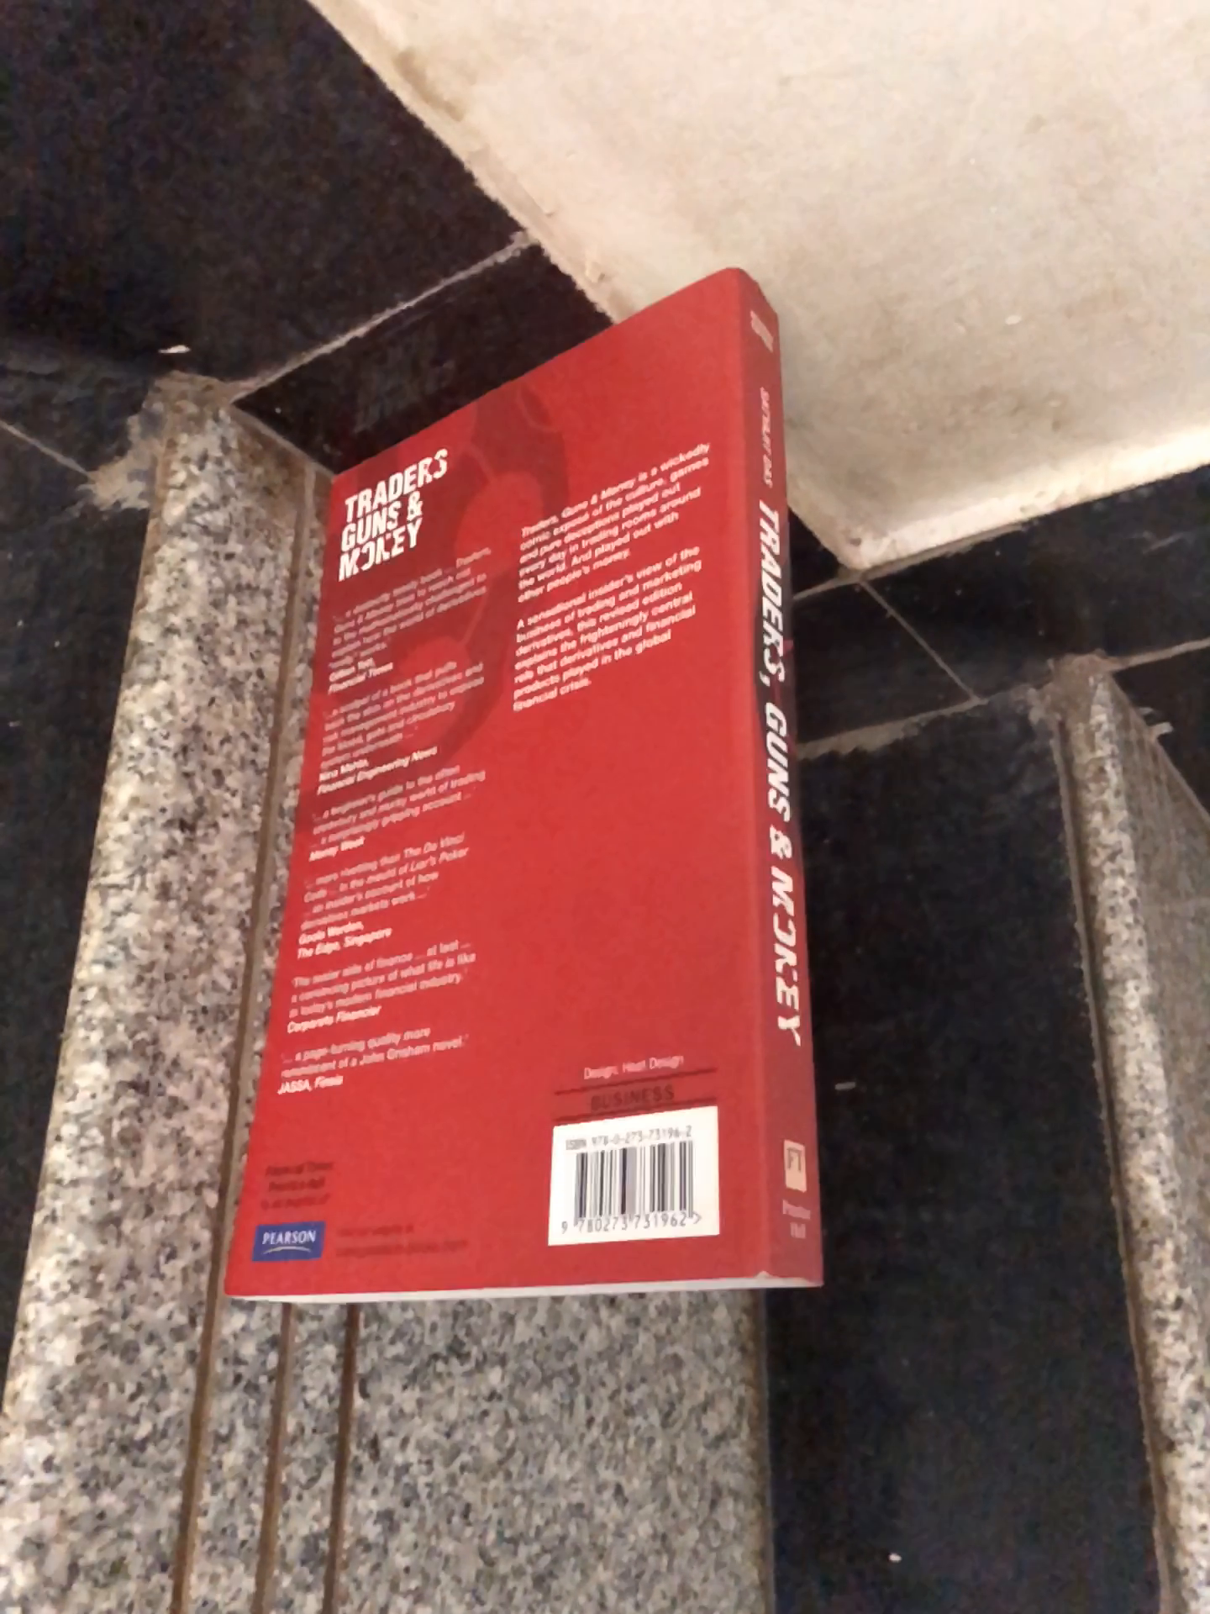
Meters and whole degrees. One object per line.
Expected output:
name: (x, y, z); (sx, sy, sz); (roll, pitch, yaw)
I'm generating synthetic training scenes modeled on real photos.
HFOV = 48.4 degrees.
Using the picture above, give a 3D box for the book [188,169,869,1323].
book: (-0.021, -0.010, 0.301); (0.030, 0.149, 0.230); (26, 56, -44)
